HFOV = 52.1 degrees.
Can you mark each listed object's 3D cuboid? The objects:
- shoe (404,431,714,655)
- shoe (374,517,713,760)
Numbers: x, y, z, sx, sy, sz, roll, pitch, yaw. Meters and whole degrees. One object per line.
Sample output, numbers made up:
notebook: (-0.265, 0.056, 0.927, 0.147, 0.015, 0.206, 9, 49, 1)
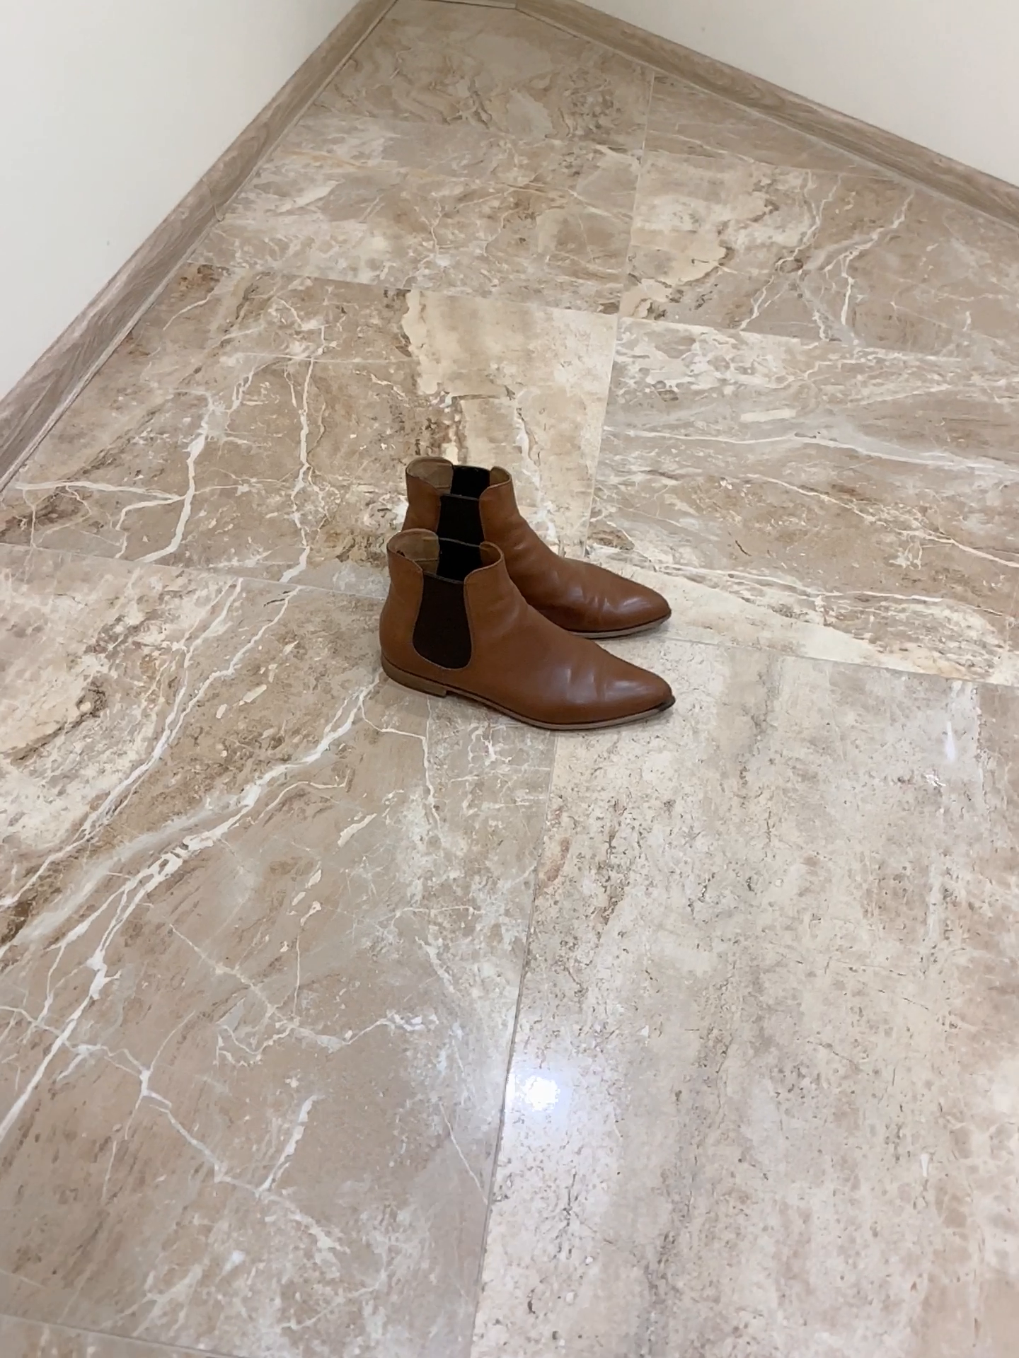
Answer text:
shoe: (0.040, -0.121, 0.923, 0.250, 0.119, 0.090, 12, 46, 7)
shoe: (0.025, -0.032, 0.846, 0.250, 0.129, 0.090, 10, 46, 4)
